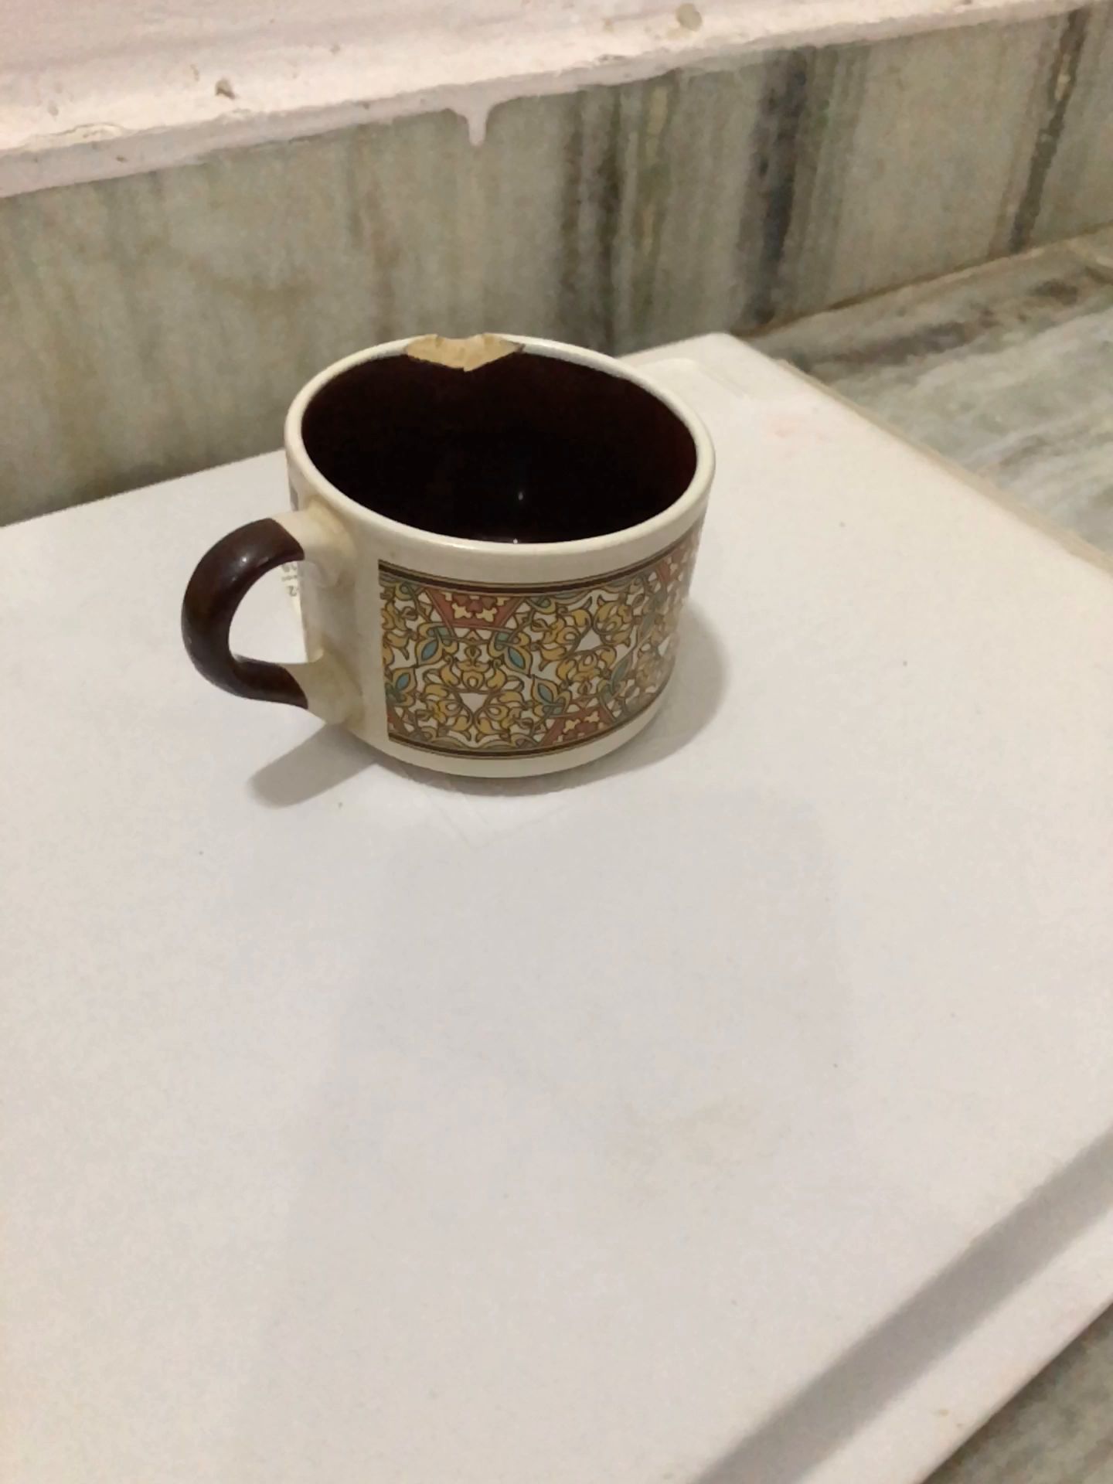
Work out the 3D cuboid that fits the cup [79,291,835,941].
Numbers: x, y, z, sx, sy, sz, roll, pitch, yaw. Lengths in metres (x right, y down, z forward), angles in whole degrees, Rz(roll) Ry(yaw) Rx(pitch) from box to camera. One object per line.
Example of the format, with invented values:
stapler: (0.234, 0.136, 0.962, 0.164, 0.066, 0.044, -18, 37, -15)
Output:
cup: (-0.019, -0.030, 0.230, 0.100, 0.060, 0.080, -23, 49, -28)
